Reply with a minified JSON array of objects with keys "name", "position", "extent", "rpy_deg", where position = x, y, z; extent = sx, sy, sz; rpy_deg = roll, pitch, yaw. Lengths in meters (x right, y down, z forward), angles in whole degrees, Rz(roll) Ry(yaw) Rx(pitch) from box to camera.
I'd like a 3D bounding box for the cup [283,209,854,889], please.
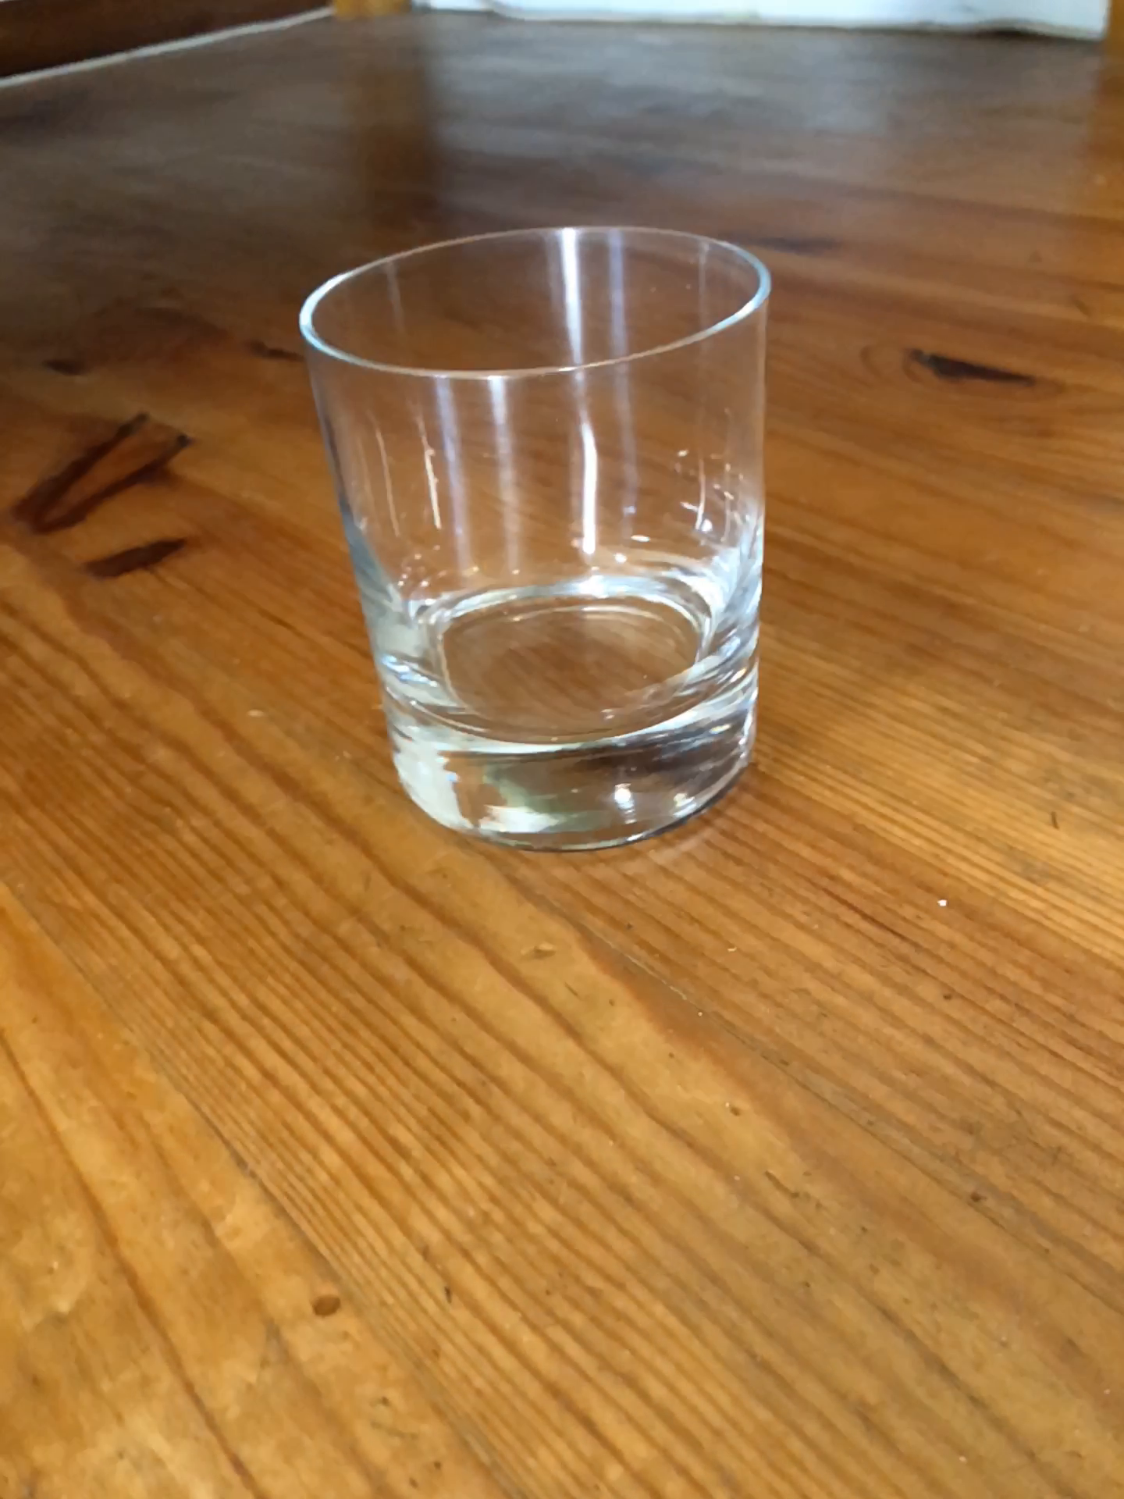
[{"name":"cup","position":[0.000,-0.042,0.240],"extent":[0.082,0.090,0.087],"rpy_deg":[-4,35,3]}]
